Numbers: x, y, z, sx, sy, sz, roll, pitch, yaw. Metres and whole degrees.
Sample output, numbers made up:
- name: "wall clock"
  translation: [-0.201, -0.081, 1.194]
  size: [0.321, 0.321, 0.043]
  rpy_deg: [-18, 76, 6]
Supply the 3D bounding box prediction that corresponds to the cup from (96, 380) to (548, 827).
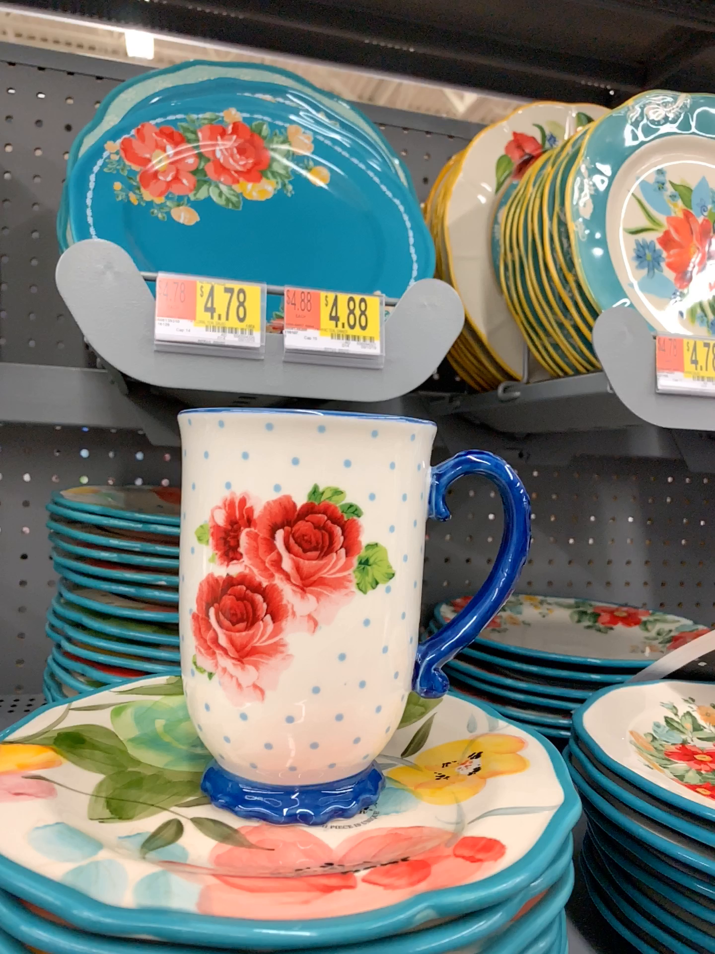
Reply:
- name: "cup"
  translation: [-0.012, 0.038, 0.269]
  size: [0.130, 0.130, 0.090]
  rpy_deg: [3, 1, -2]
